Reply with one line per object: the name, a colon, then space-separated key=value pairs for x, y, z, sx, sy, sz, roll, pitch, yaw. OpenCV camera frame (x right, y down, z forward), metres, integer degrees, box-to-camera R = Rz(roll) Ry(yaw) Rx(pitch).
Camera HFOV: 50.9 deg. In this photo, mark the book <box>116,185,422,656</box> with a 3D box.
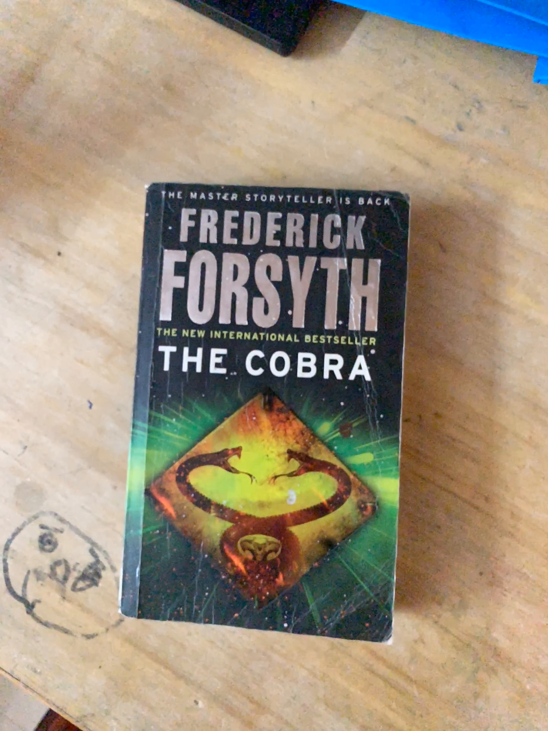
book: x=0.000 y=0.017 z=0.222 sx=0.100 sy=0.040 sz=0.160 roll=3 pitch=86 yaw=4
